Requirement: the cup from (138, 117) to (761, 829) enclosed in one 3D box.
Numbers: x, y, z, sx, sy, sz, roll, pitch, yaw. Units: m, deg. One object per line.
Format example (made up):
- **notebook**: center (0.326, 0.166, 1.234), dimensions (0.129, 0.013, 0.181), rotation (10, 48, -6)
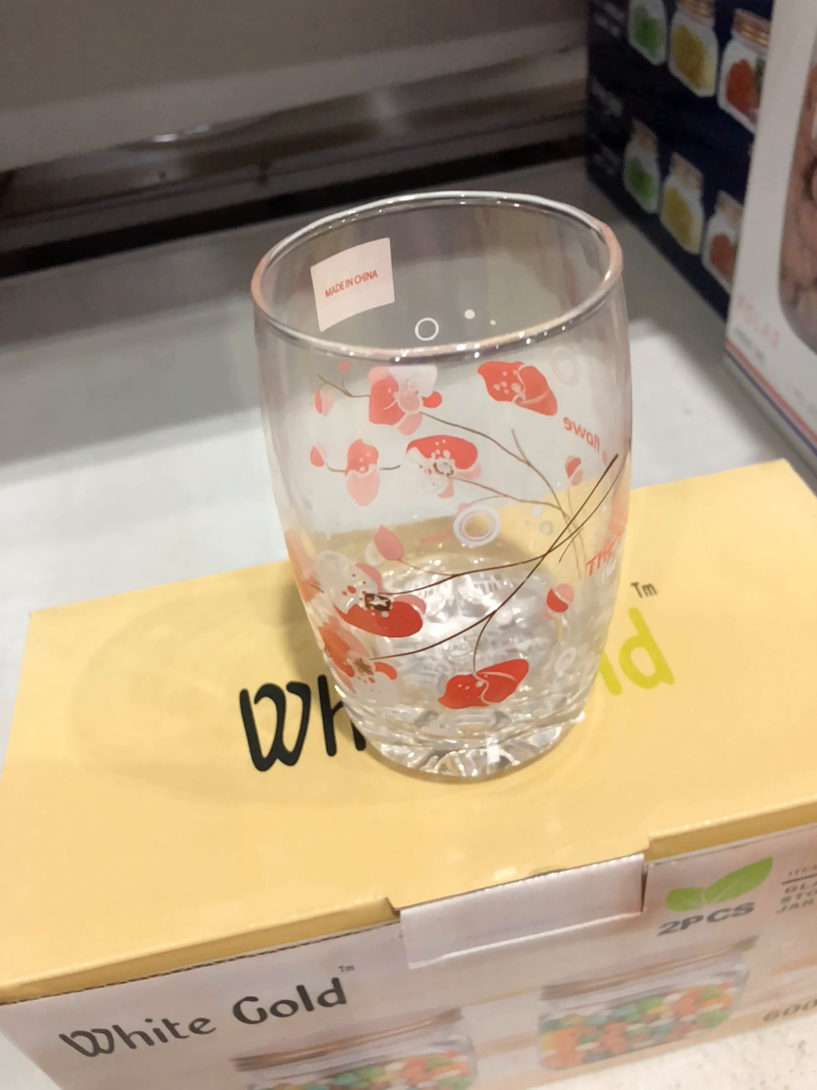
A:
- **cup**: center (0.009, -0.010, 0.185), dimensions (0.080, 0.109, 0.080), rotation (-4, 43, 4)
